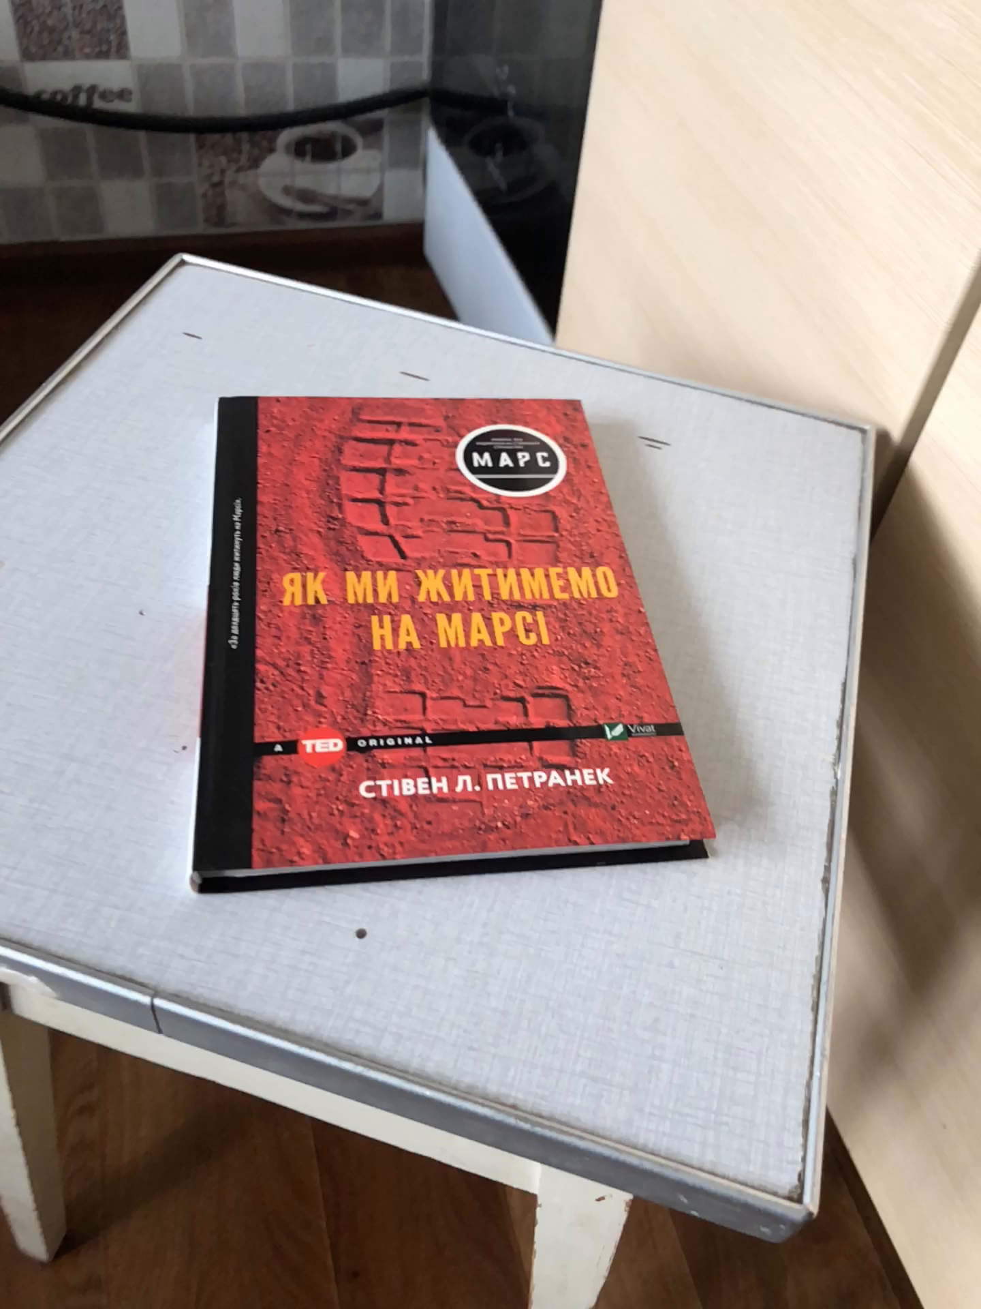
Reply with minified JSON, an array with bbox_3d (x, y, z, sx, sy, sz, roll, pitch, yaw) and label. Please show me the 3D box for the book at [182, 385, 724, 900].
[{"bbox_3d":[-0.021,-0.022,0.366,0.146,0.015,0.215,-2,48,-8],"label":"book"}]
